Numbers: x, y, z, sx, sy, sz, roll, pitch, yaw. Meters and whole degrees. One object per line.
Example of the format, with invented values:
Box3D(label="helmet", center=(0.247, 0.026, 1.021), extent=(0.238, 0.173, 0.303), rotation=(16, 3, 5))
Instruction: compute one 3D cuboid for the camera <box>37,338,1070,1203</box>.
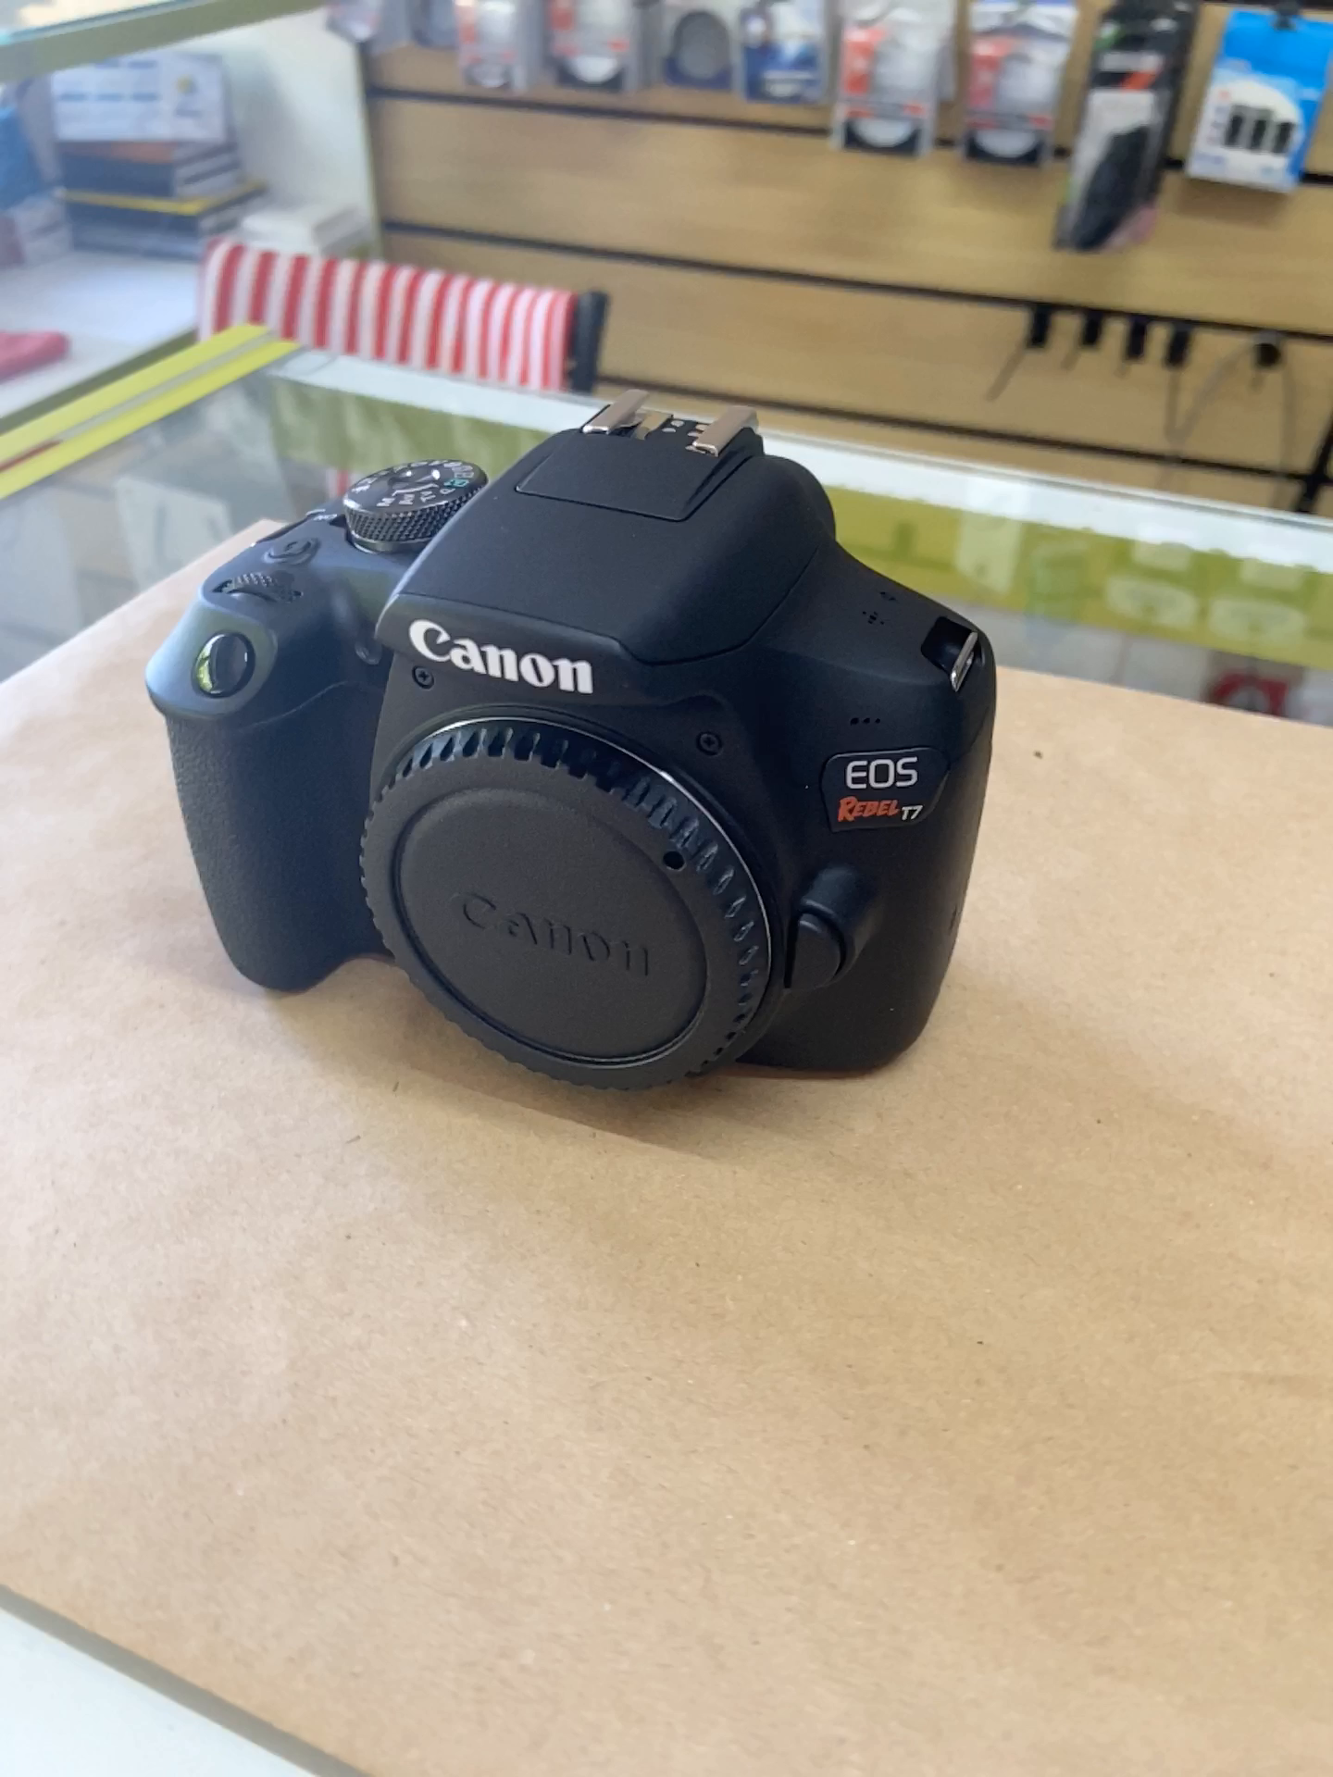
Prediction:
Box3D(label="camera", center=(-0.014, -0.025, 0.229), extent=(0.130, 0.093, 0.072), rotation=(15, 41, 18))
